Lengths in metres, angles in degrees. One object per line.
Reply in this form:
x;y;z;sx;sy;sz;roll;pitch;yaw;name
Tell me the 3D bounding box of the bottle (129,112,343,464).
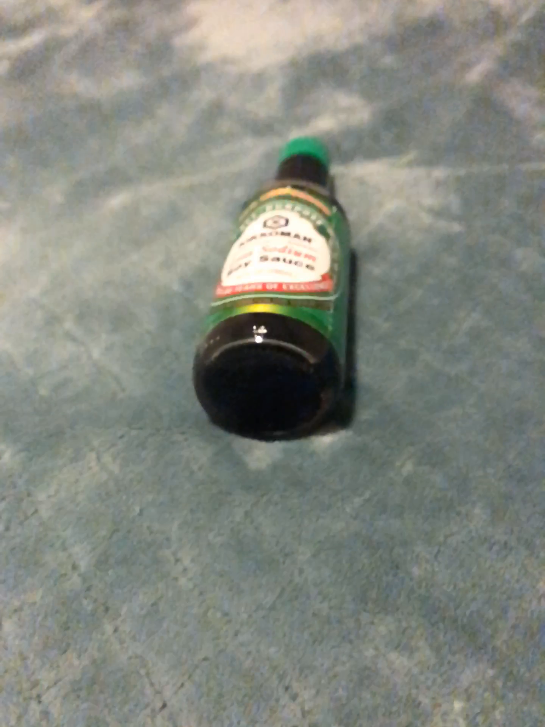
-0.002;-0.053;0.304;0.070;0.060;0.211;0;42;7;bottle
